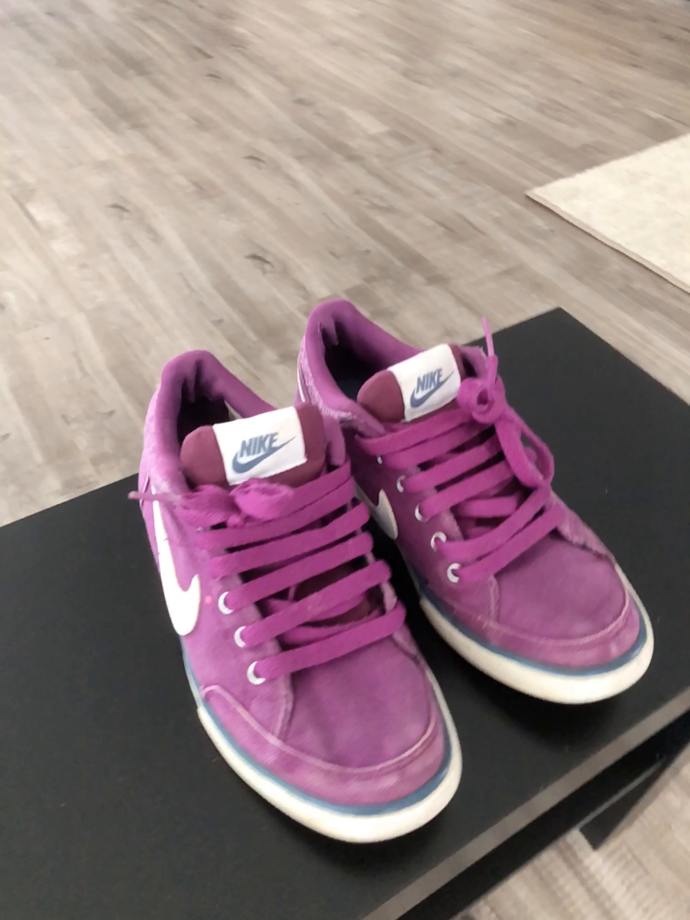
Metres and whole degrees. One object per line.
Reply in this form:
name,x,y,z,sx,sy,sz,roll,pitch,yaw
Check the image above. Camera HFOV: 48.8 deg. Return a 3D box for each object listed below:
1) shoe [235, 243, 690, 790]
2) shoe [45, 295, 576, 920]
shoe,0.049,0.008,0.375,0.100,0.100,0.251,-23,51,-22
shoe,-0.033,0.044,0.330,0.100,0.100,0.241,-23,51,-22
